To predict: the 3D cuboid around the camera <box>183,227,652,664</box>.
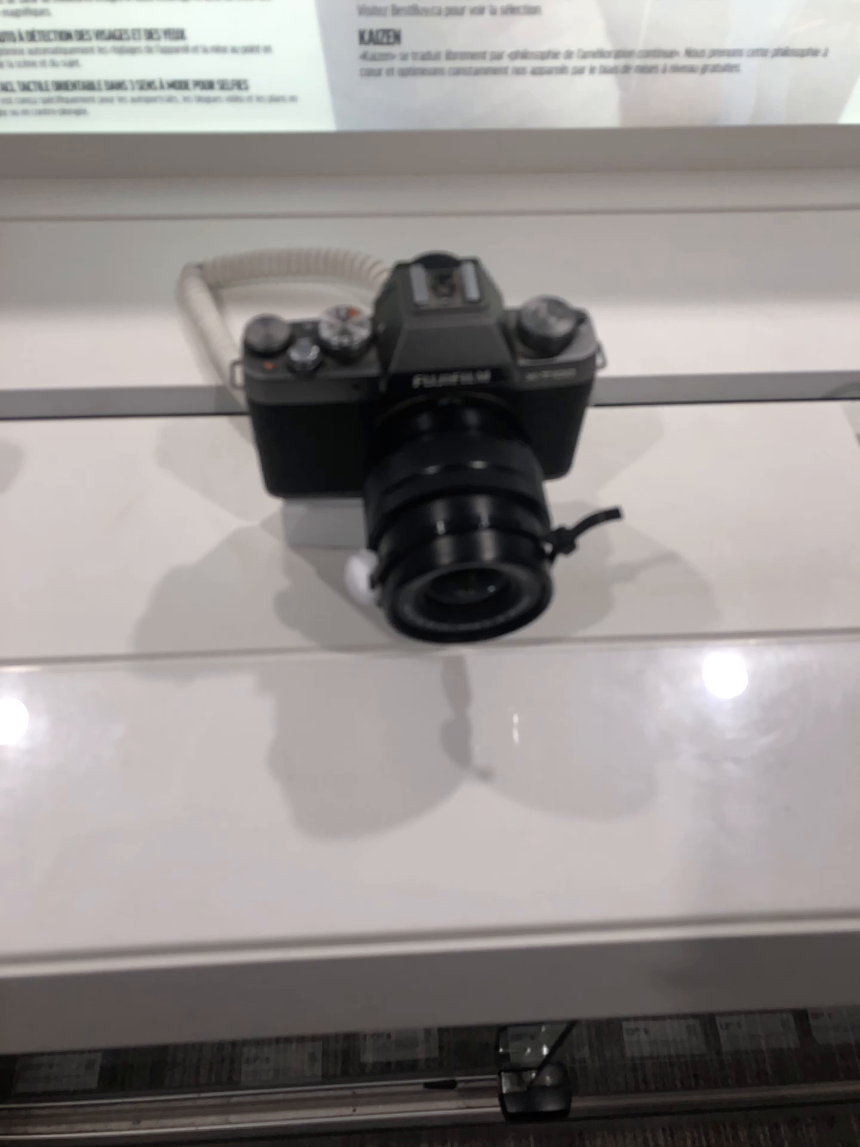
[{"bbox_3d":[-0.009,-0.044,0.328,0.130,0.099,0.107,-4,54,-5],"label":"camera"}]
